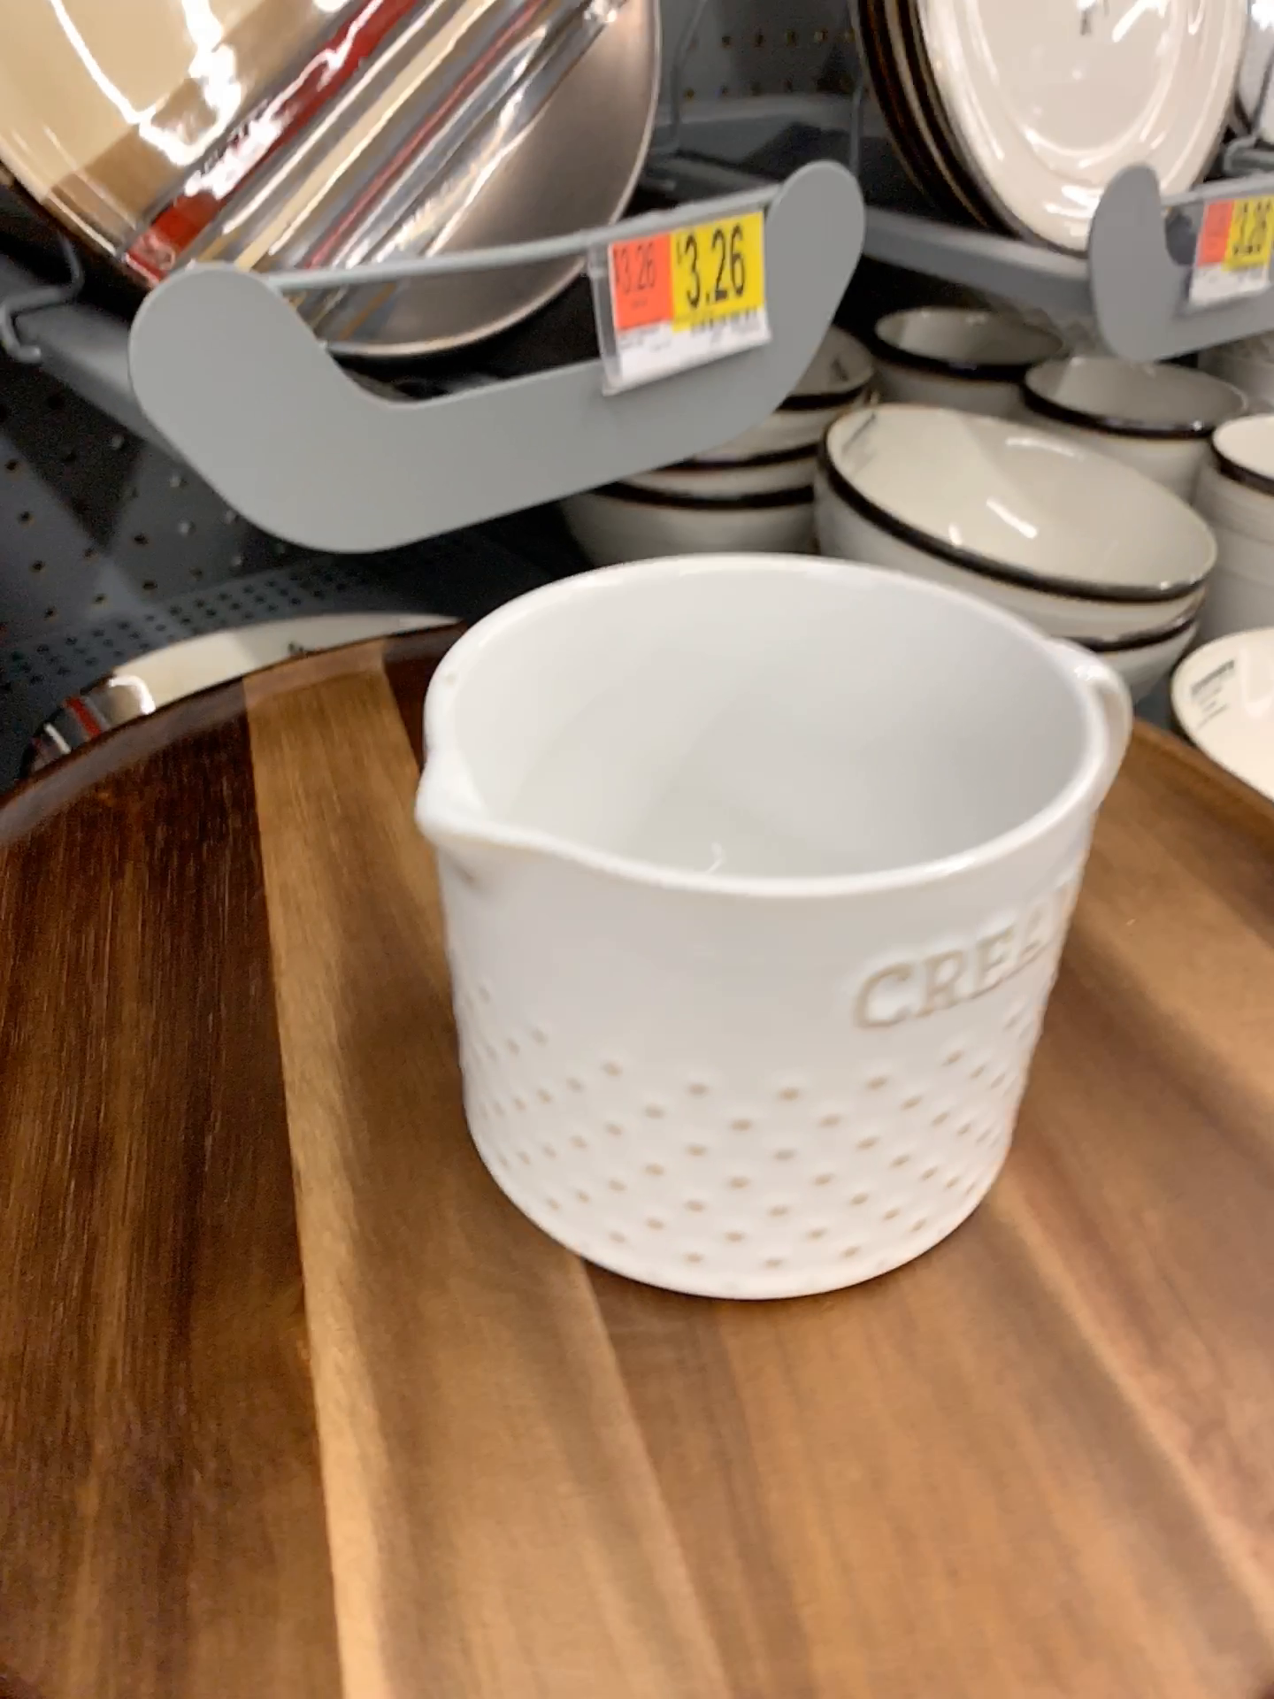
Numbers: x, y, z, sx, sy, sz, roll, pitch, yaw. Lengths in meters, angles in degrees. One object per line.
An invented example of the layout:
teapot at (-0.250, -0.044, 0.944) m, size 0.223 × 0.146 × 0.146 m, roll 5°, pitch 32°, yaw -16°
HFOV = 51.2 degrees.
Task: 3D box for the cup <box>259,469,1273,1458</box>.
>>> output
cup at (0.029, 0.005, 0.238) m, size 0.150 × 0.089 × 0.100 m, roll -21°, pitch 42°, yaw -28°
